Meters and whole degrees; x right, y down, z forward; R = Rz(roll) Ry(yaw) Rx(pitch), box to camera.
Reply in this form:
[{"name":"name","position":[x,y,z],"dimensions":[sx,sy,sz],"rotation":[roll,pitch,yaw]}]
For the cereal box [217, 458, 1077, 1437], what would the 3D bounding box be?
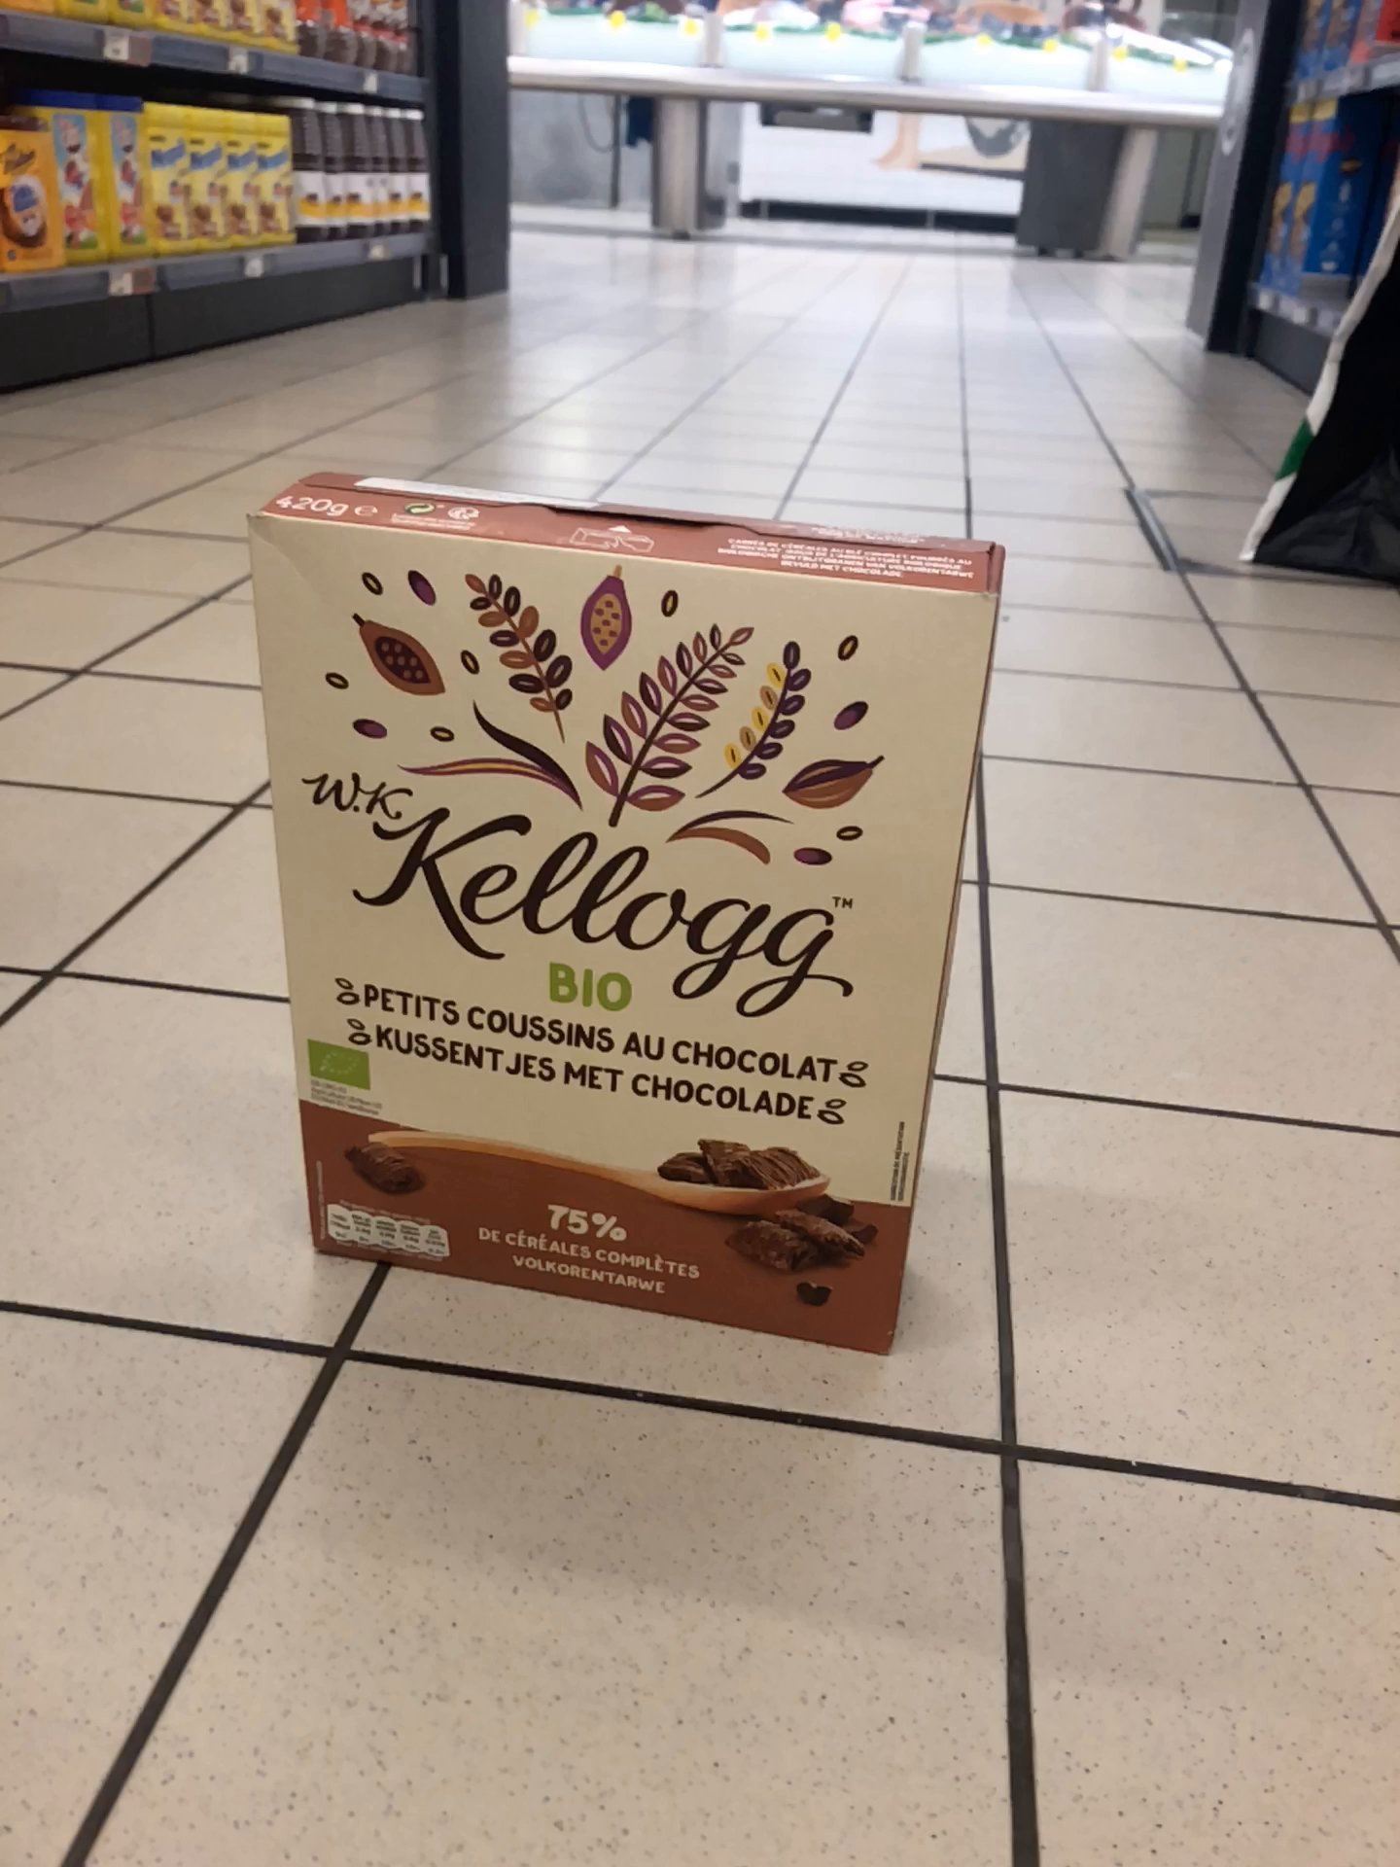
[{"name":"cereal box","position":[-0.017,0.009,0.428],"dimensions":[0.200,0.248,0.050],"rotation":[9,28,11]}]
